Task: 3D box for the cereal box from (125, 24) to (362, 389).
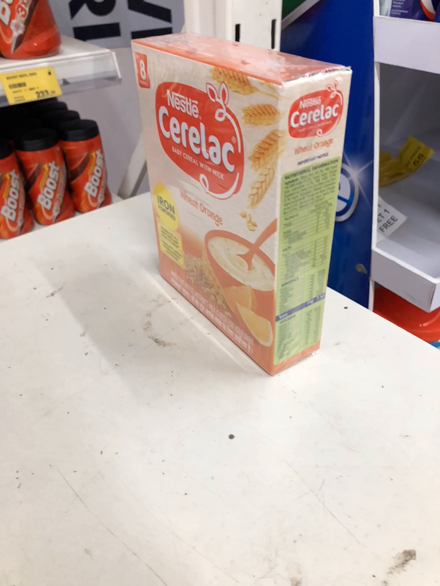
[{"bbox_3d":[0.007,-0.063,0.337,0.050,0.199,0.161,-24,41,-25],"label":"cereal box"}]
